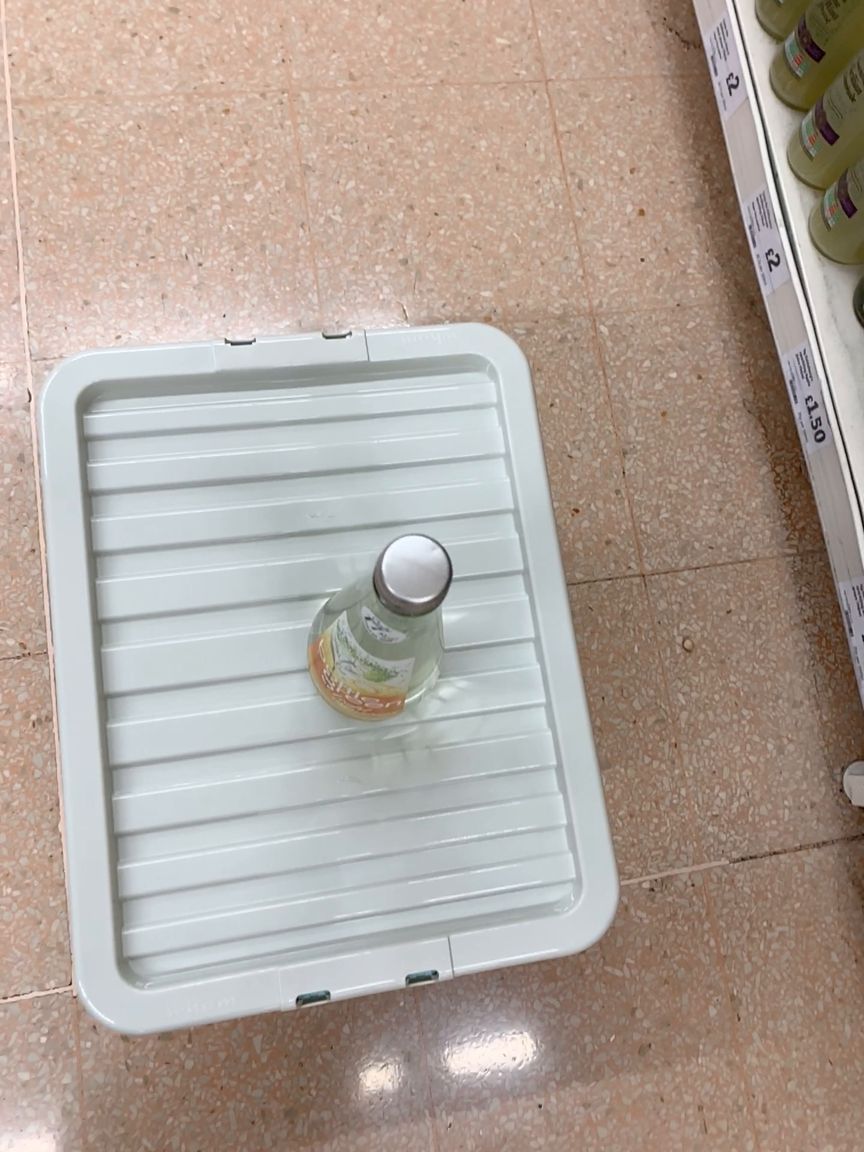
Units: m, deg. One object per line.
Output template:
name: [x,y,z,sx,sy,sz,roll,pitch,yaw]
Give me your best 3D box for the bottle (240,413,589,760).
bottle: [-0.023,0.030,0.453,0.090,0.289,0.090,1,78,-7]
